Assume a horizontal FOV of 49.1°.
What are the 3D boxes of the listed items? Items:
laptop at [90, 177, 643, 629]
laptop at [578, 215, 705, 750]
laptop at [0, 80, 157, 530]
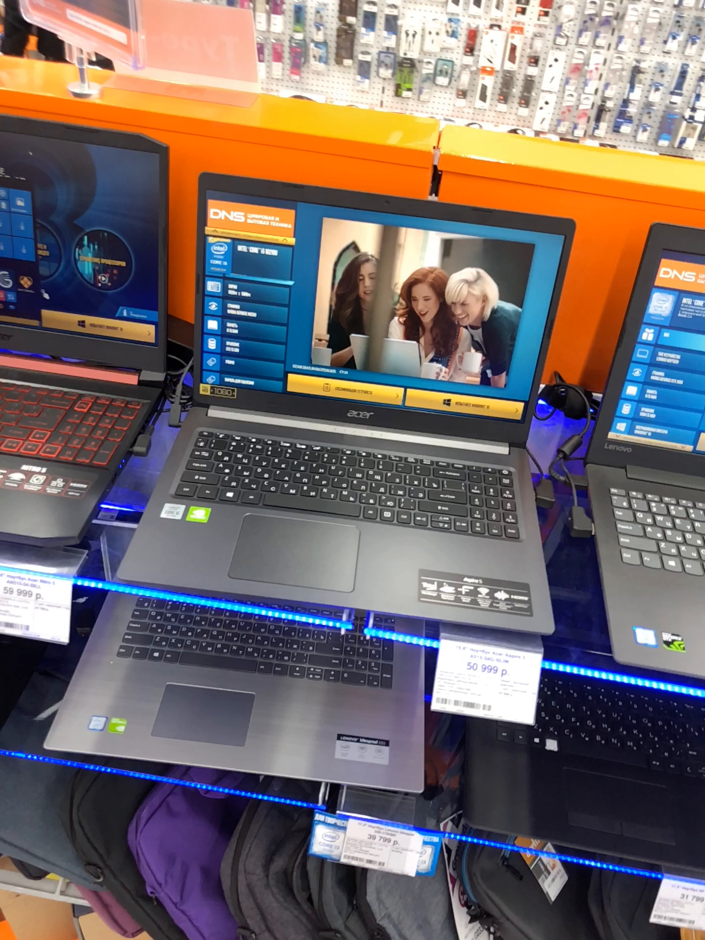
[{"bbox_3d":[0.011,-0.073,0.676,0.352,0.224,0.304,7,39,0],"label":"laptop"},{"bbox_3d":[0.423,-0.011,0.655,0.349,0.230,0.324,9,40,2],"label":"laptop"},{"bbox_3d":[-0.372,-0.159,0.694,0.309,0.230,0.302,8,39,-3],"label":"laptop"}]
